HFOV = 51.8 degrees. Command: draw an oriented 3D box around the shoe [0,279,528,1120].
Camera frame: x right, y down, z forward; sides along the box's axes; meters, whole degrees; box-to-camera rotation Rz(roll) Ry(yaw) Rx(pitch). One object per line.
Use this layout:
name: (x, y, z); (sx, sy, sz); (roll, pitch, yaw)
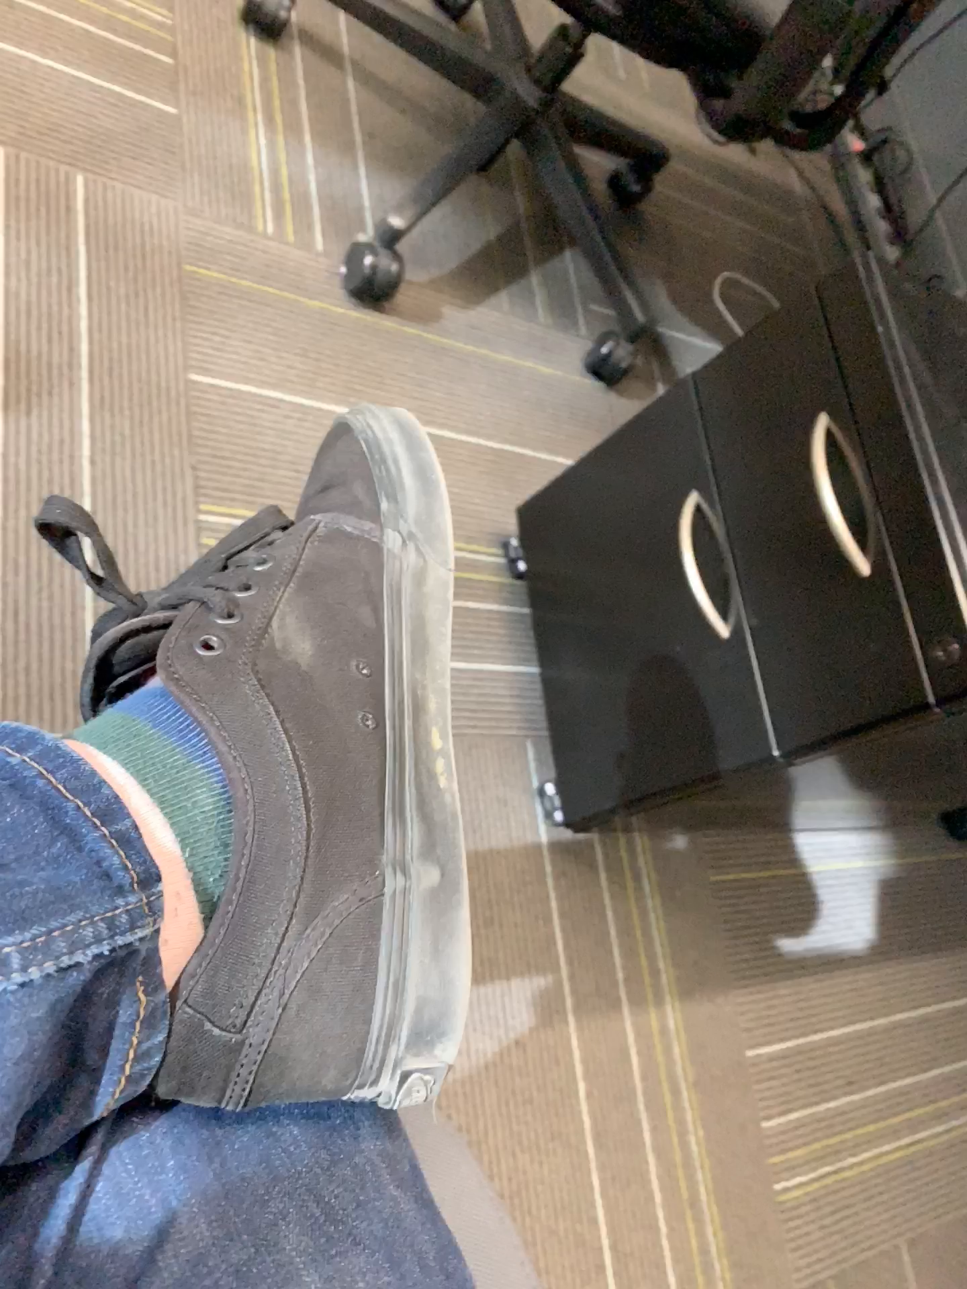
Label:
shoe: (-0.073, 0.027, 0.364); (0.135, 0.120, 0.260); (13, 62, -22)
